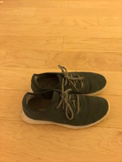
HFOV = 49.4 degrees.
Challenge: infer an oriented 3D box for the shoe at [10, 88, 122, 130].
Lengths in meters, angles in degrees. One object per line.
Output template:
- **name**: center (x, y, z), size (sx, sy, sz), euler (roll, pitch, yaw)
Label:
- **shoe**: center (0.019, 0.093, 0.438), size (0.320, 0.099, 0.101), euler (0, 51, 2)

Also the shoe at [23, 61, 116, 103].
- **shoe**: center (0.026, 0.004, 0.512), size (0.310, 0.099, 0.101), euler (-4, 51, -1)
